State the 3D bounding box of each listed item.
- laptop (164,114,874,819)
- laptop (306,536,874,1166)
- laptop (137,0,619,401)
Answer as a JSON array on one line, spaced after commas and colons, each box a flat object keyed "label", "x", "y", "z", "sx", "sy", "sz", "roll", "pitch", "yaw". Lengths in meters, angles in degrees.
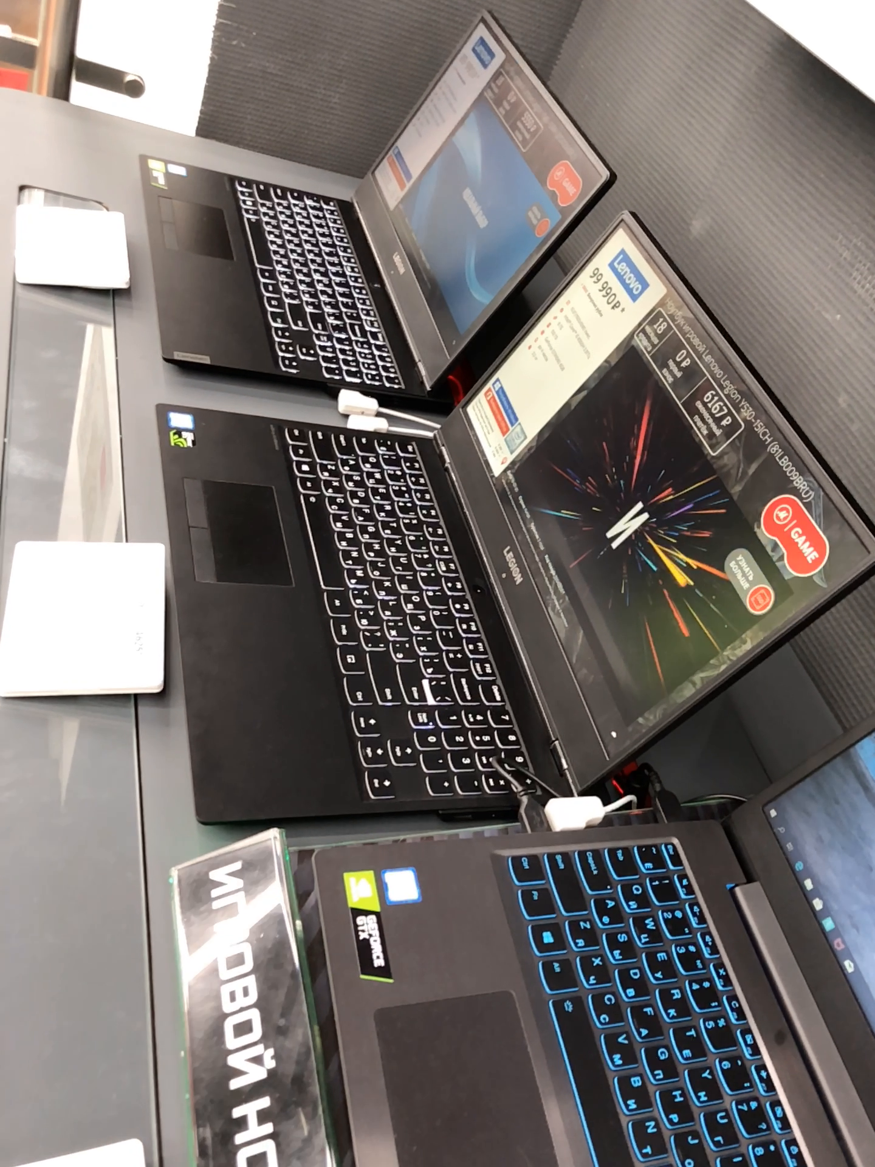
[{"label": "laptop", "x": 0.014, "y": -0.074, "z": 0.604, "sx": 0.301, "sy": 0.225, "sz": 0.354, "roll": 3, "pitch": 46, "yaw": -24}, {"label": "laptop", "x": 0.172, "y": 0.192, "z": 0.351, "sx": 0.334, "sy": 0.225, "sz": 0.356, "roll": 2, "pitch": 46, "yaw": -21}, {"label": "laptop", "x": -0.082, "y": -0.383, "z": 0.872, "sx": 0.315, "sy": 0.223, "sz": 0.354, "roll": 2, "pitch": 47, "yaw": -26}]
